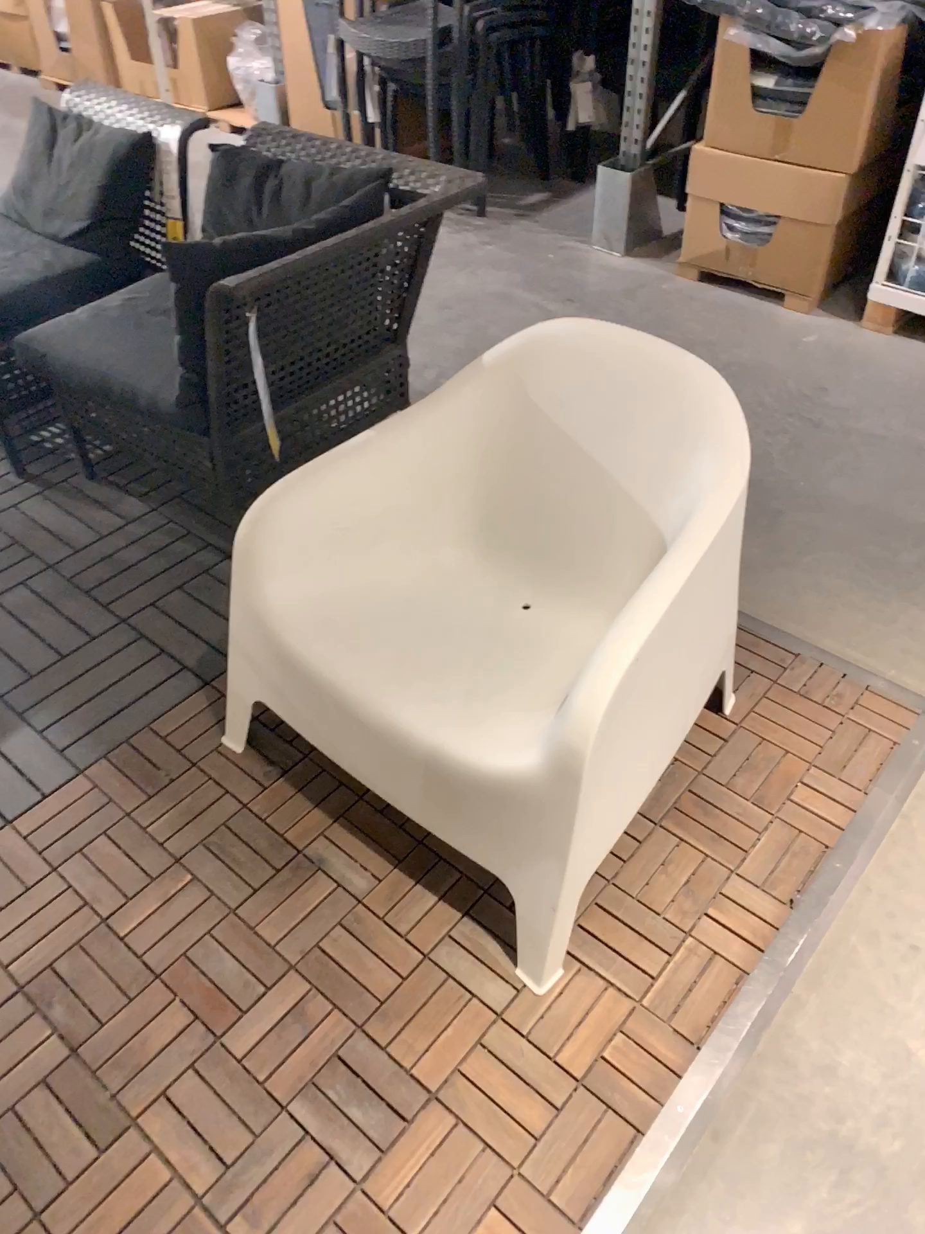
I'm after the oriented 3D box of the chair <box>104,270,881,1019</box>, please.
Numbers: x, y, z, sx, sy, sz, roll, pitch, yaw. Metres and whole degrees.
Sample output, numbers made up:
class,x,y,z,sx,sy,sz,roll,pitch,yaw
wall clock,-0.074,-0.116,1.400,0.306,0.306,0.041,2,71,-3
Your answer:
class,x,y,z,sx,sy,sz,roll,pitch,yaw
chair,0.053,-0.031,1.512,0.772,0.637,0.761,30,51,30
